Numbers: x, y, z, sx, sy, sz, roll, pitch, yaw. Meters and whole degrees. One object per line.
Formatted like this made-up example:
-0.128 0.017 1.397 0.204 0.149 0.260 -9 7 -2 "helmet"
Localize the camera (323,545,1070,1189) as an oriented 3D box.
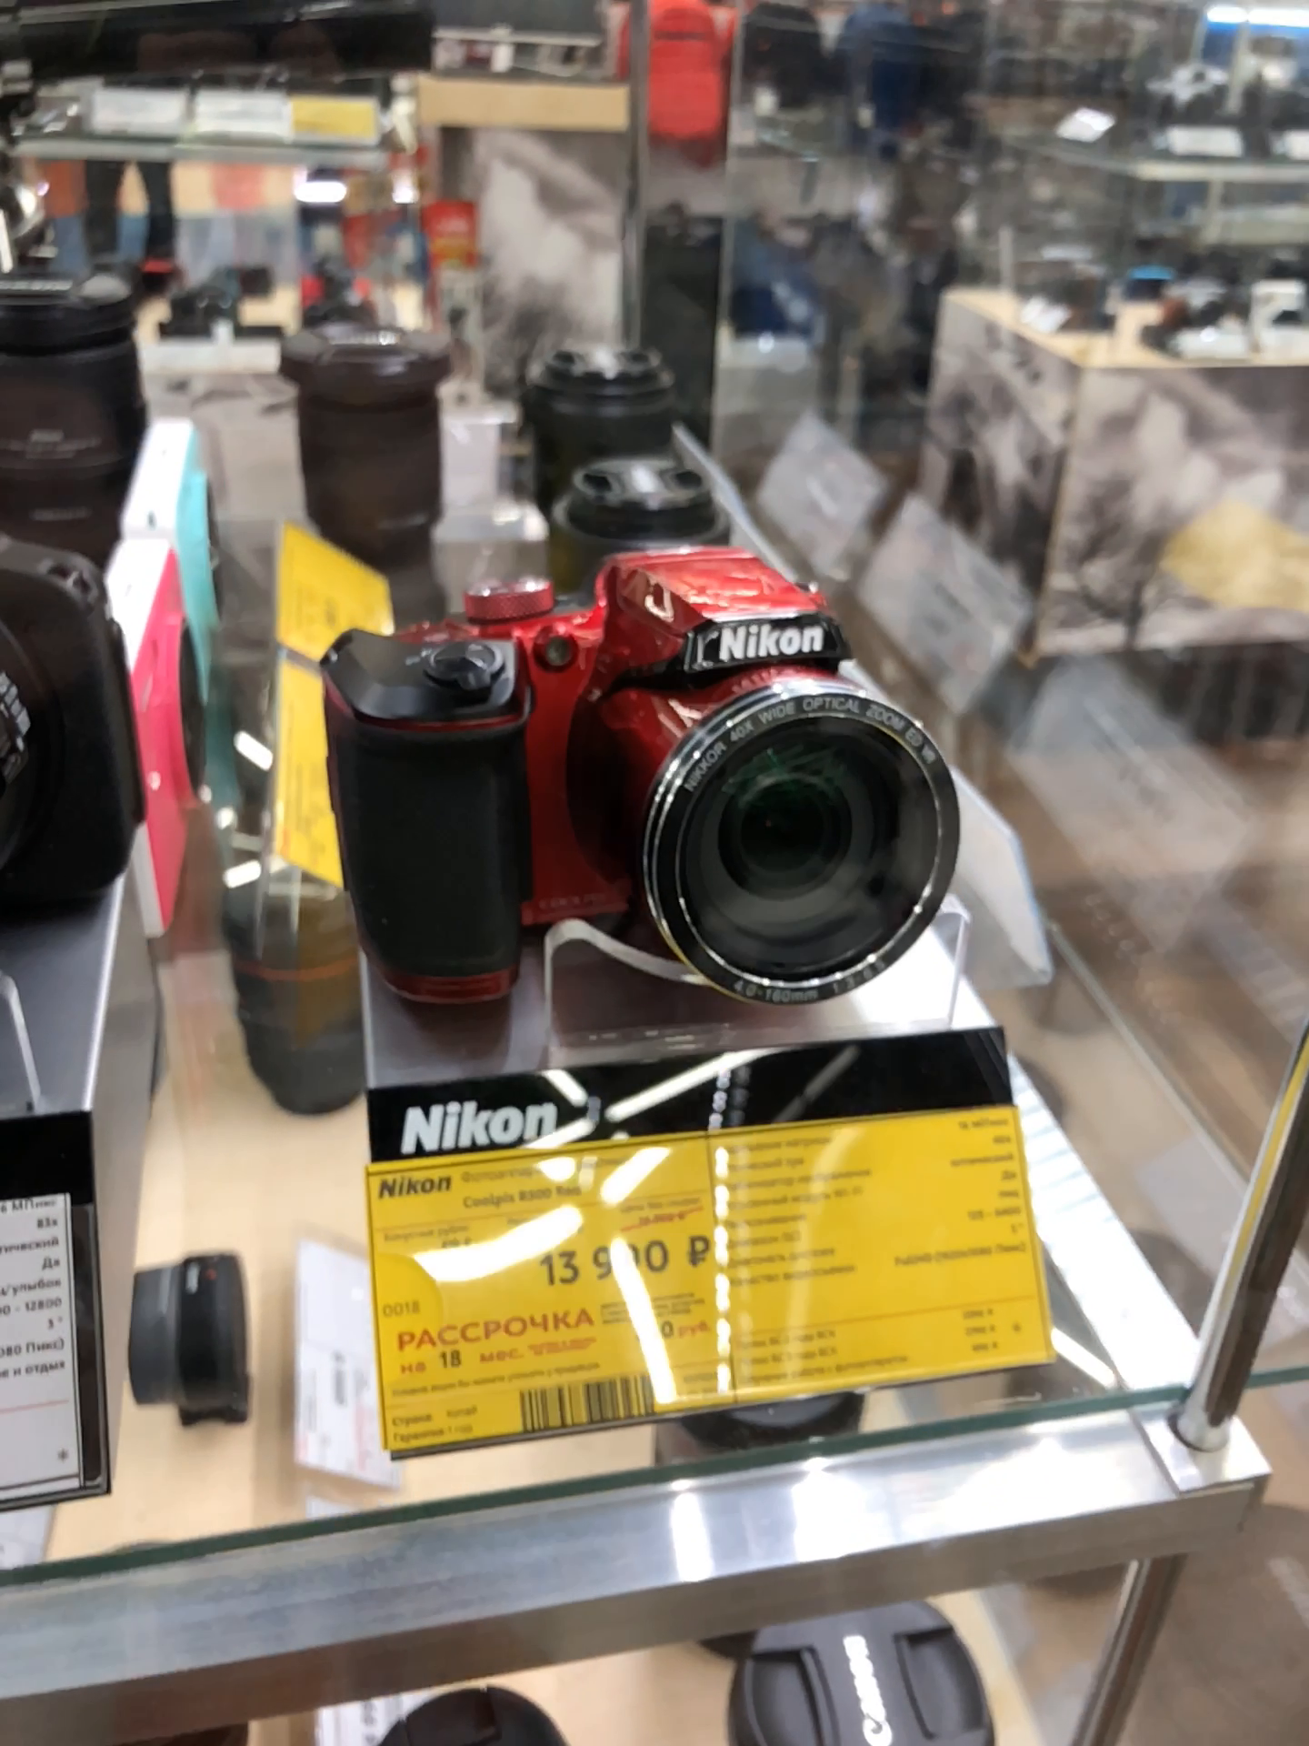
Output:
-0.002 -0.010 0.298 0.120 0.076 0.111 -4 32 -11 "camera"
